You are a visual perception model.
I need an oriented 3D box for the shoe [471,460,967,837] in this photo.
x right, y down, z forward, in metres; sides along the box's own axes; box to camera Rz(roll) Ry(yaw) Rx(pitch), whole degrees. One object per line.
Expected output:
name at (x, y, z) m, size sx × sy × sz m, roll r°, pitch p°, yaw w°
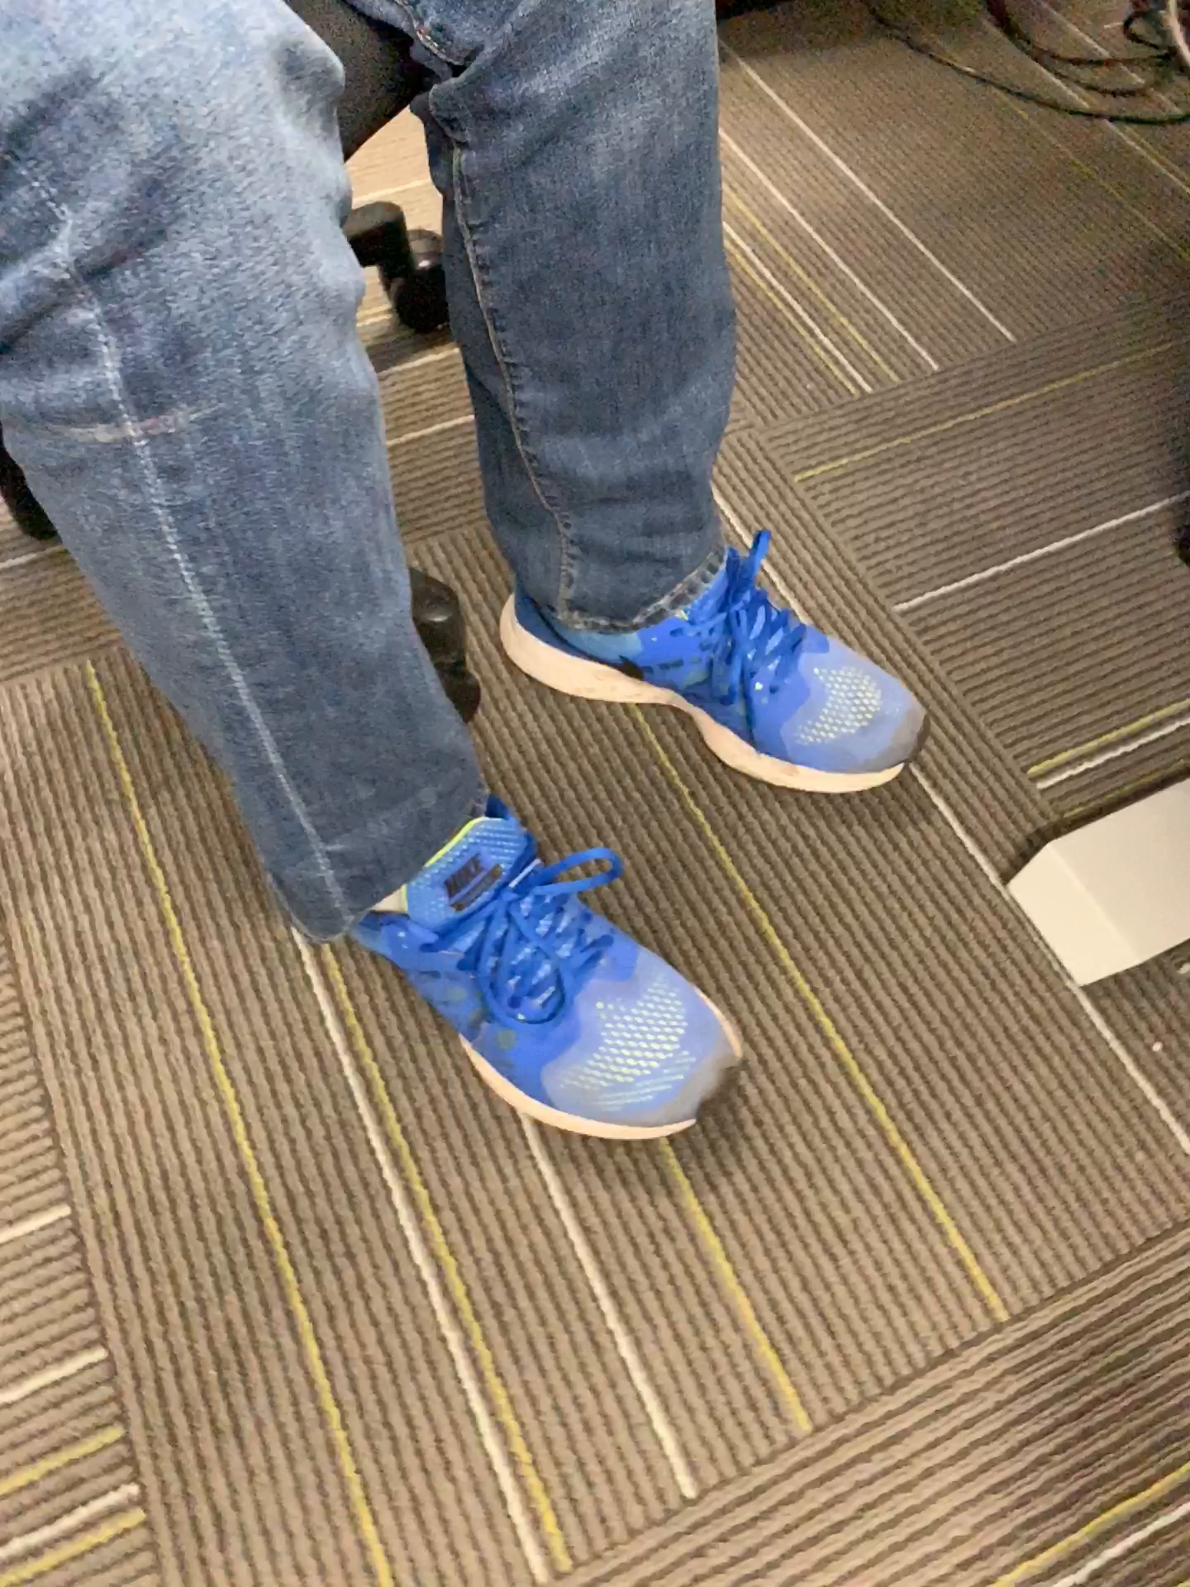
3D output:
shoe at (0.073, -0.097, 0.780) m, size 0.279 × 0.083 × 0.116 m, roll 26°, pitch 61°, yaw 15°

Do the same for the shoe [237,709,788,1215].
shoe at (-0.048, 0.086, 0.677) m, size 0.279 × 0.083 × 0.117 m, roll 34°, pitch 64°, yaw 19°
